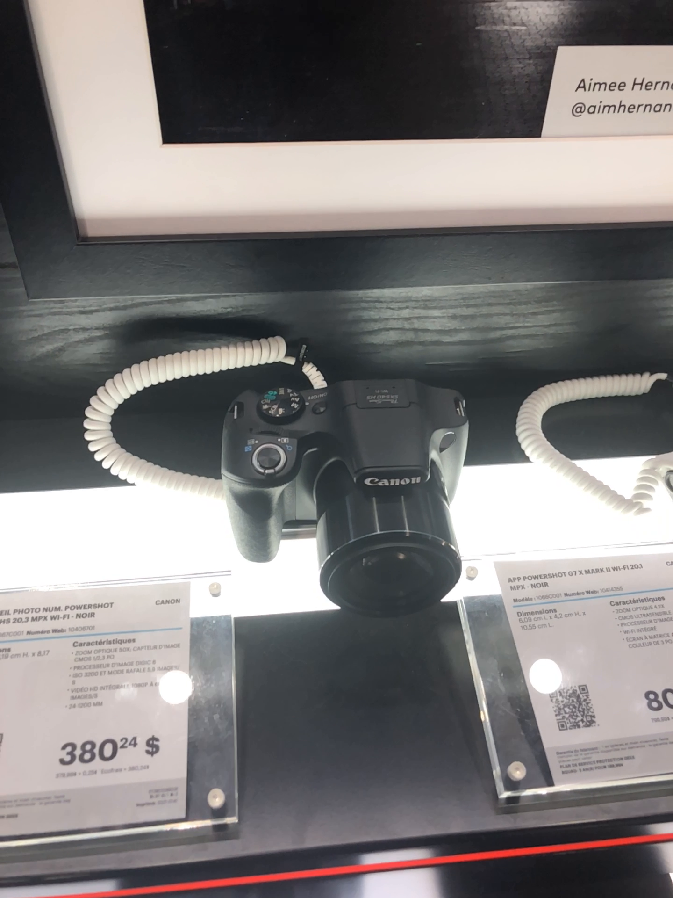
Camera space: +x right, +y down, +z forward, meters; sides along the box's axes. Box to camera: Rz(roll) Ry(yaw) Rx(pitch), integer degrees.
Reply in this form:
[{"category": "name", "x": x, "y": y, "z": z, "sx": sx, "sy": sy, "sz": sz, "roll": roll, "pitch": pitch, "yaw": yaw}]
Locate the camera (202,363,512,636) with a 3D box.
[{"category": "camera", "x": 0.004, "y": 0.024, "z": 0.349, "sx": 0.122, "sy": 0.099, "sz": 0.071, "roll": -3, "pitch": 40, "yaw": -5}]
